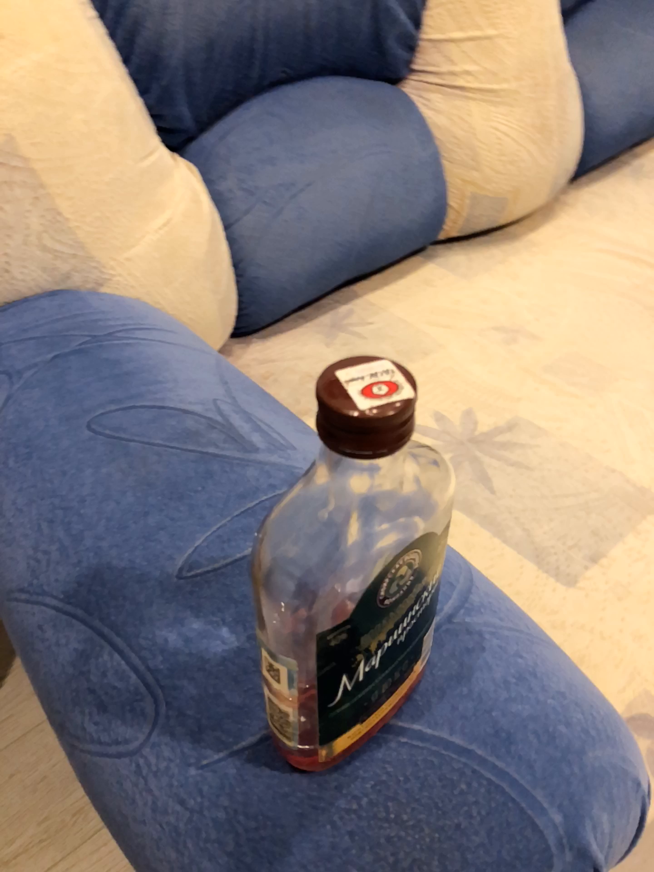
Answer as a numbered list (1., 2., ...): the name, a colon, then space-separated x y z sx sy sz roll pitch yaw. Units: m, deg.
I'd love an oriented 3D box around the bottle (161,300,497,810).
1. bottle: 0.005 0.053 0.260 0.090 0.179 0.040 -34 52 -30
